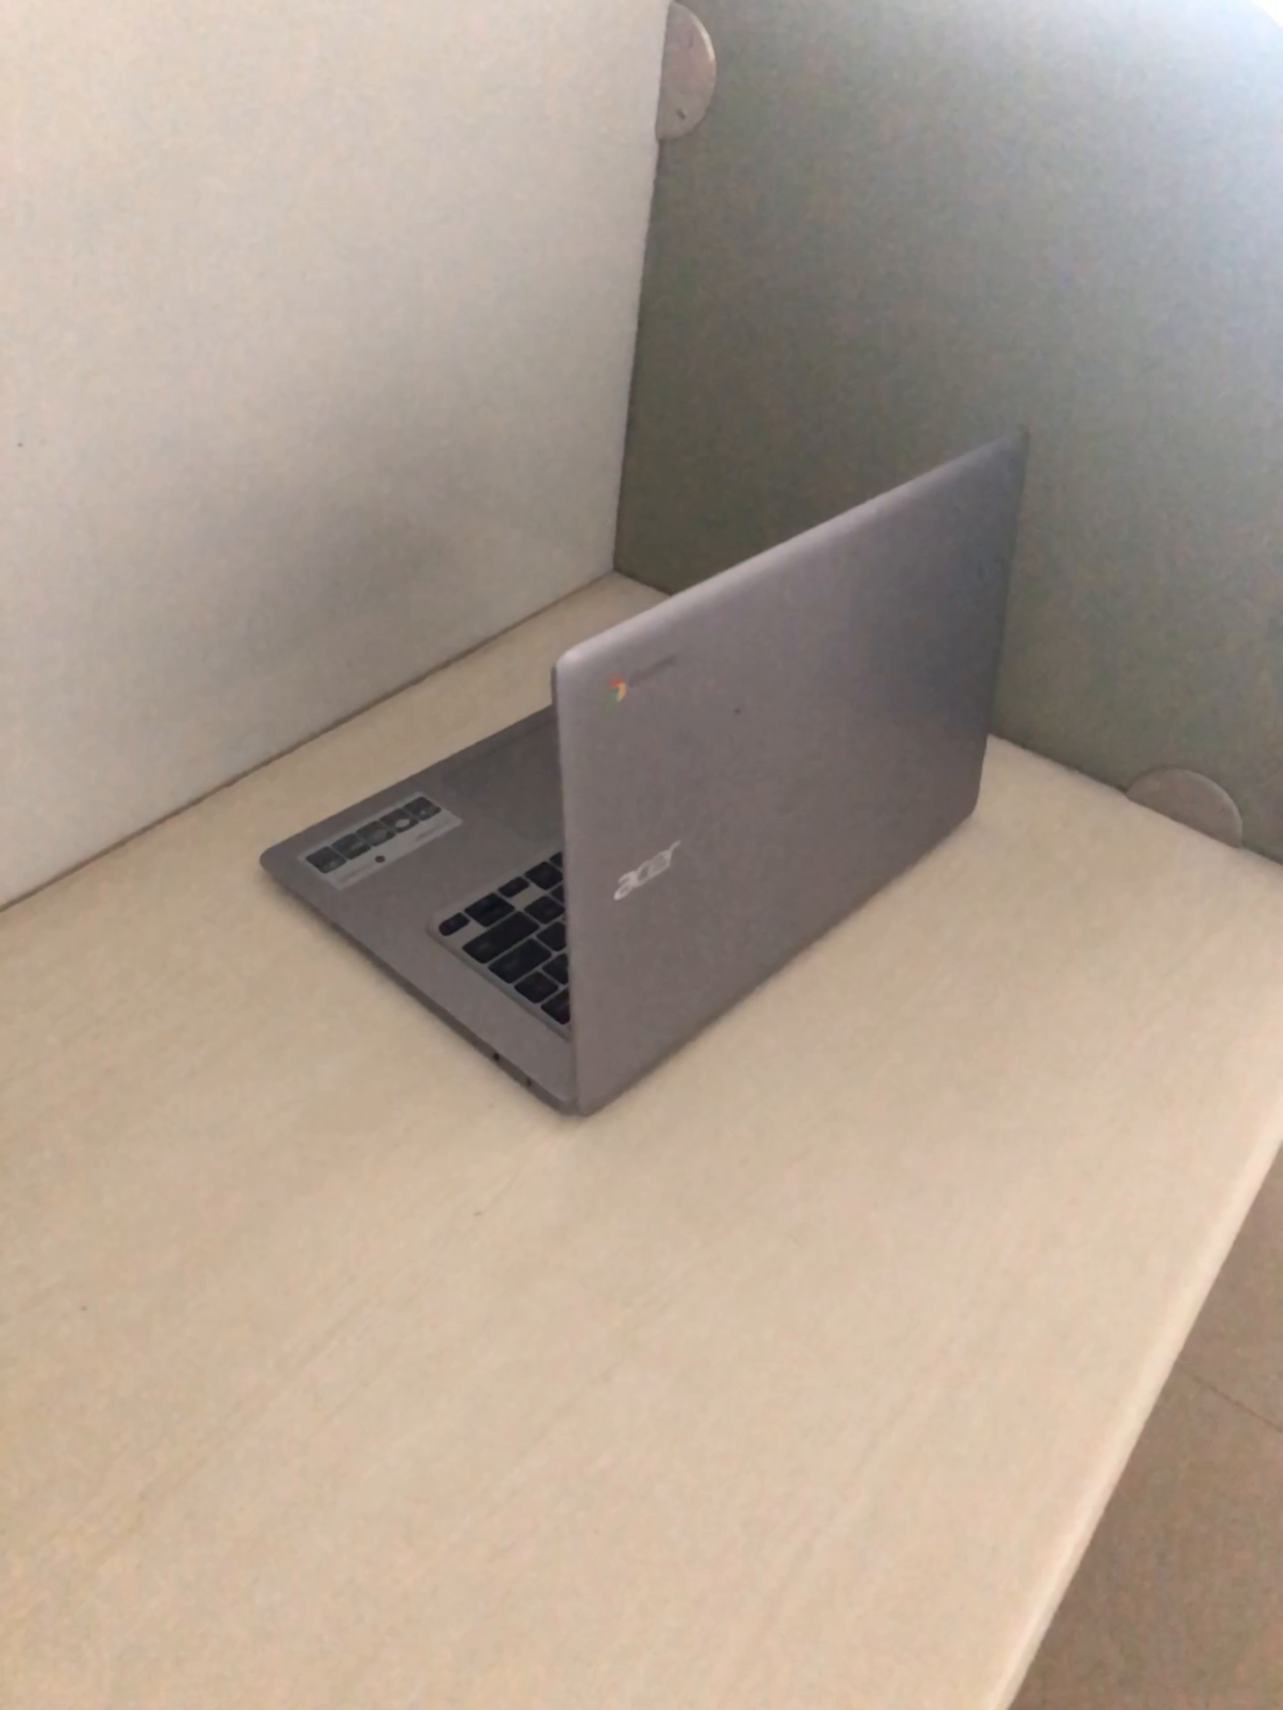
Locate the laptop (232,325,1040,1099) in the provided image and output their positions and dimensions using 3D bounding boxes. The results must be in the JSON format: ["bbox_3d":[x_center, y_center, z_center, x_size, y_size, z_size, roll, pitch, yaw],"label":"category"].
[{"bbox_3d":[0.004,-0.098,0.696,0.221,0.218,0.322,30,41,27],"label":"laptop"}]
